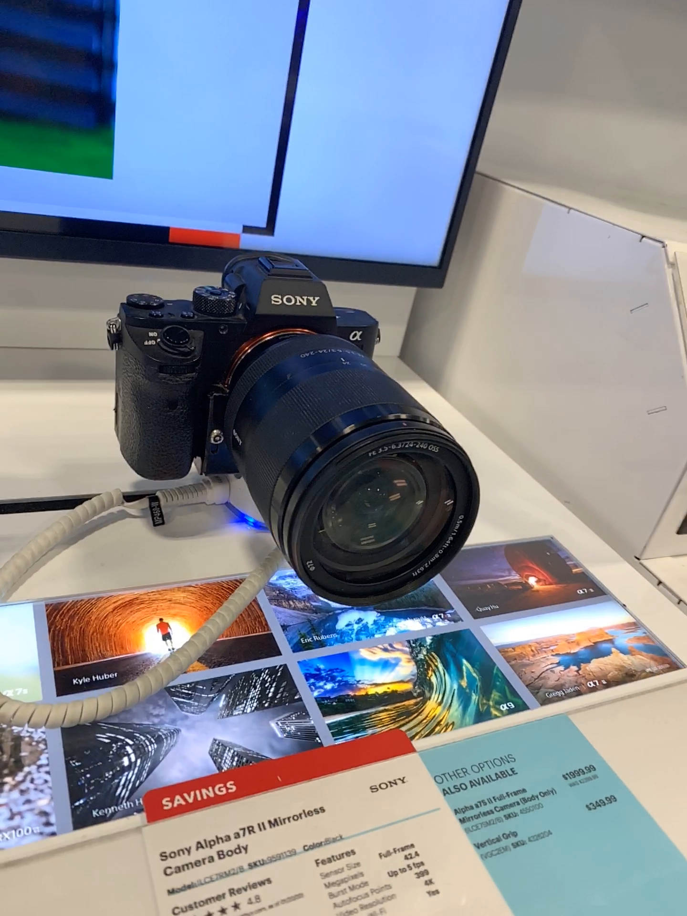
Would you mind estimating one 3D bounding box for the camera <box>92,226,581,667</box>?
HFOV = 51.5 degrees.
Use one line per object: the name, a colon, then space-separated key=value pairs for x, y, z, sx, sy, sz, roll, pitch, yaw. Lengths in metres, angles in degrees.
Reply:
camera: x=-0.023 y=-0.024 z=0.308 sx=0.128 sy=0.091 sz=0.185 roll=-6 pitch=34 yaw=-29
